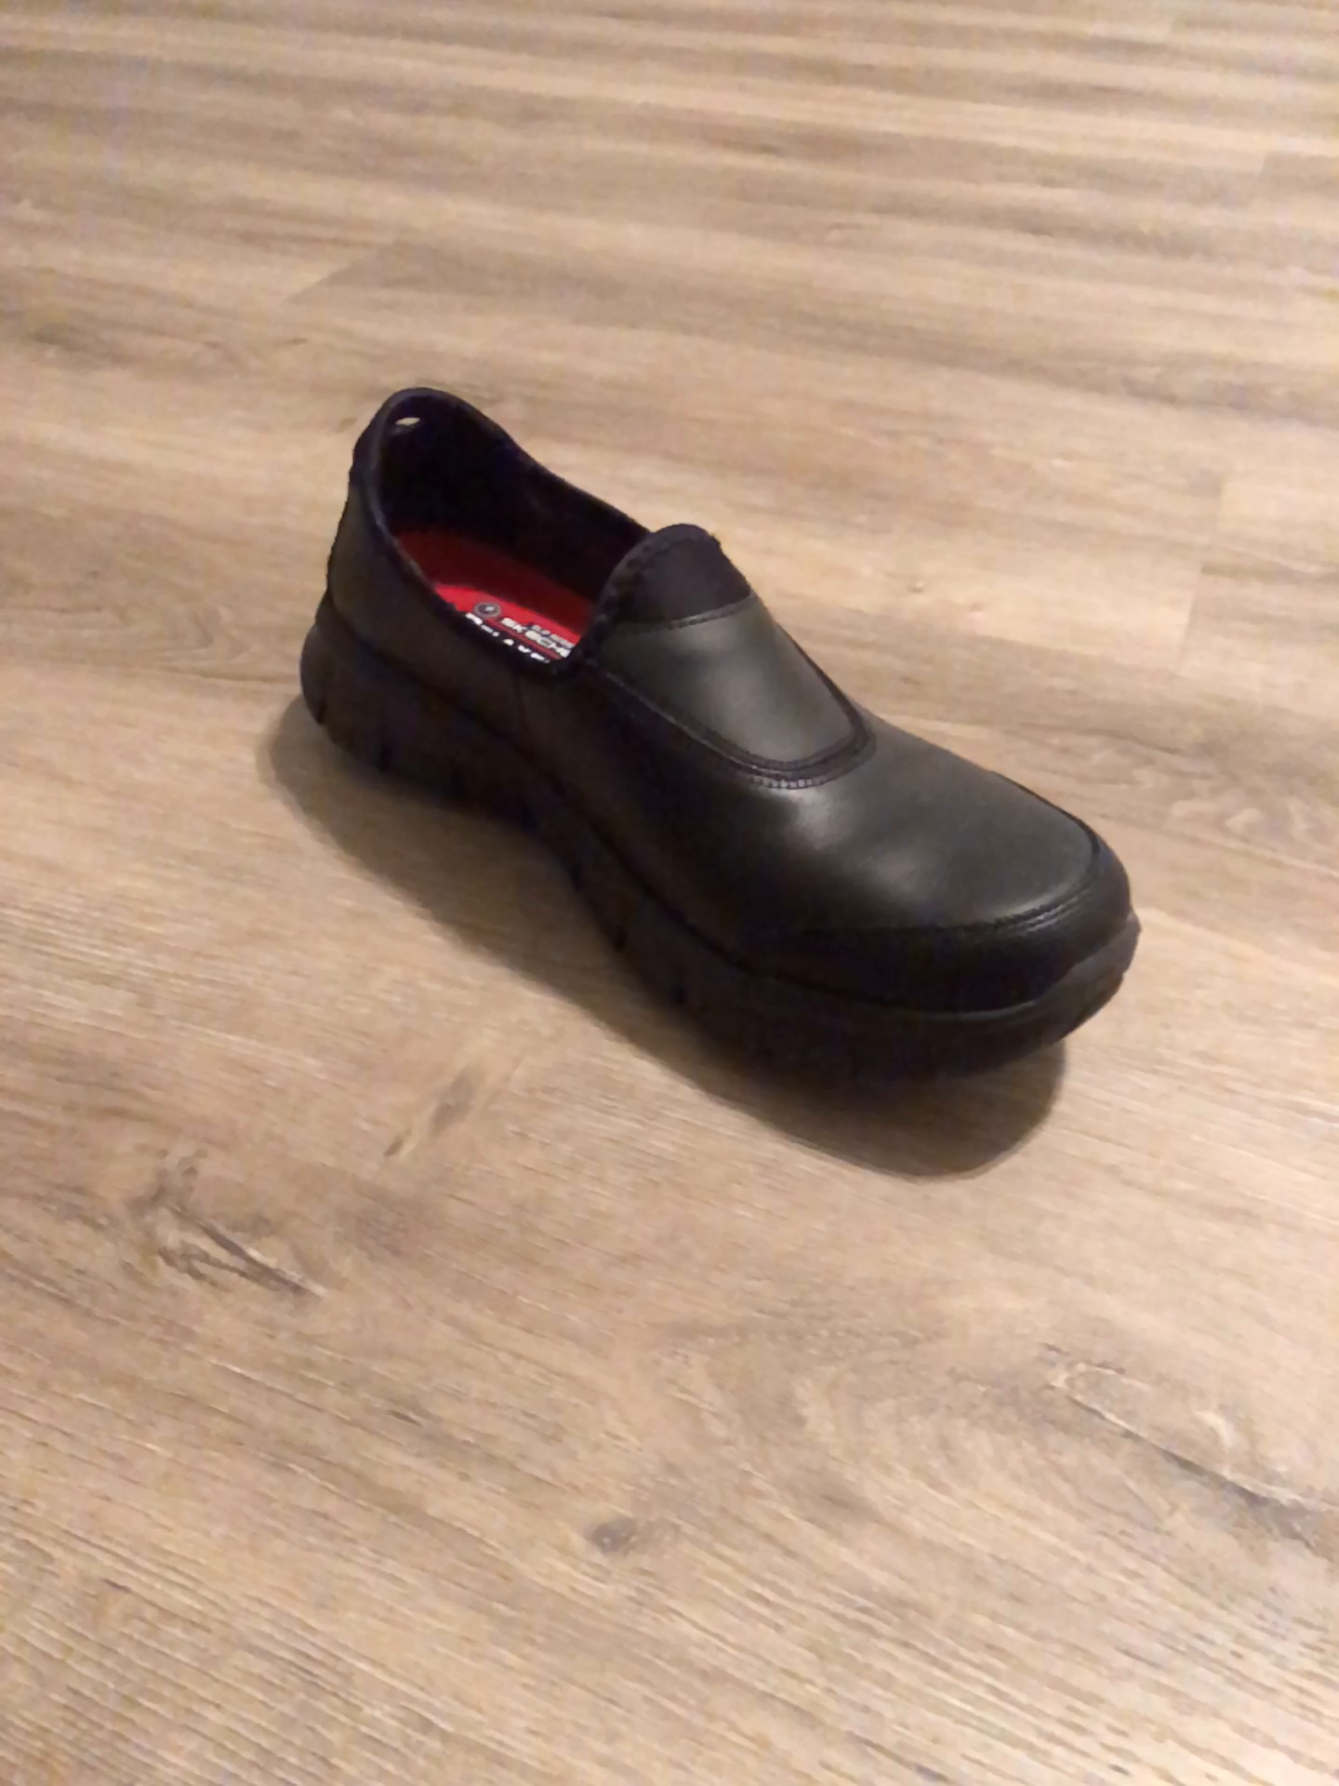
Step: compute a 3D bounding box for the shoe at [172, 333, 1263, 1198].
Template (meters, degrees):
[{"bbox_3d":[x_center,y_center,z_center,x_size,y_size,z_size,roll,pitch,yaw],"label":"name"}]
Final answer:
[{"bbox_3d":[-0.004,-0.048,0.354,0.241,0.090,0.090,31,48,32],"label":"shoe"}]
